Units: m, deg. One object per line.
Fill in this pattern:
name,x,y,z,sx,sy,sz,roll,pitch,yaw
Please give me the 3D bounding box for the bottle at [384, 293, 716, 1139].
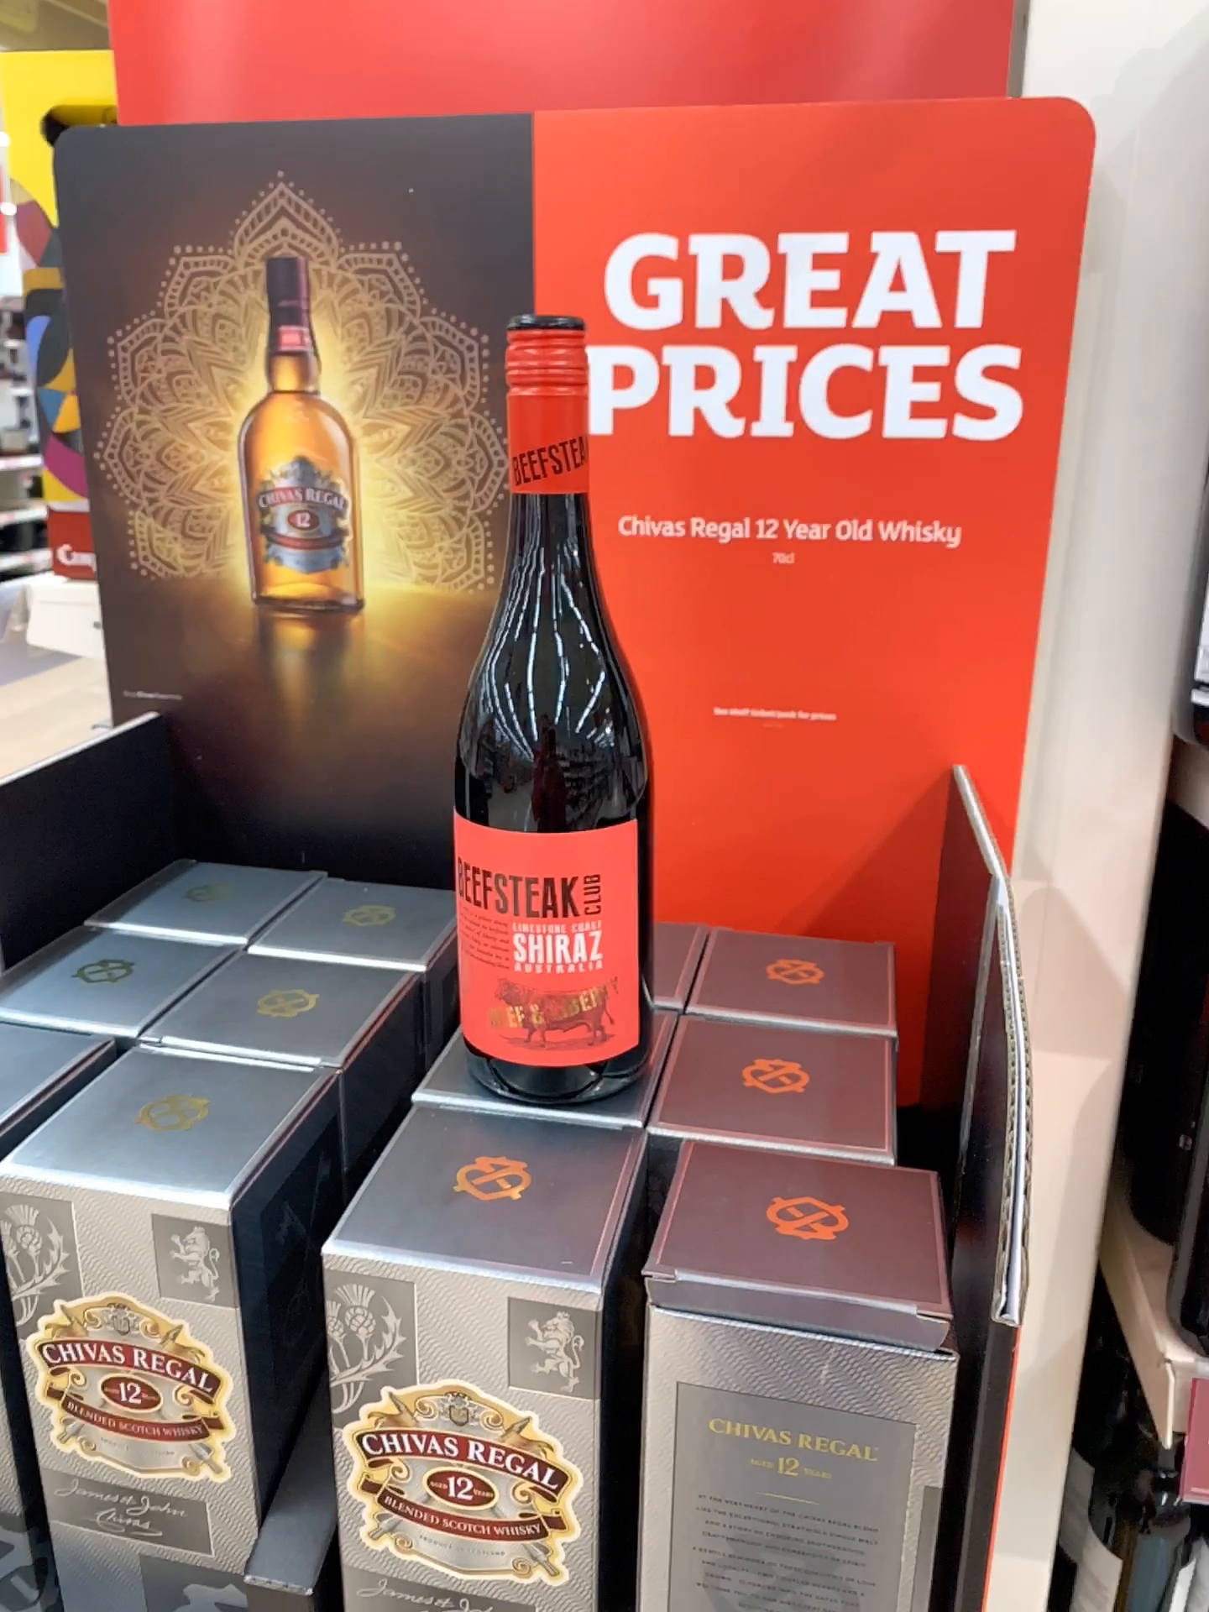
bottle,-0.017,-0.033,0.461,0.083,0.284,0.080,1,18,0
